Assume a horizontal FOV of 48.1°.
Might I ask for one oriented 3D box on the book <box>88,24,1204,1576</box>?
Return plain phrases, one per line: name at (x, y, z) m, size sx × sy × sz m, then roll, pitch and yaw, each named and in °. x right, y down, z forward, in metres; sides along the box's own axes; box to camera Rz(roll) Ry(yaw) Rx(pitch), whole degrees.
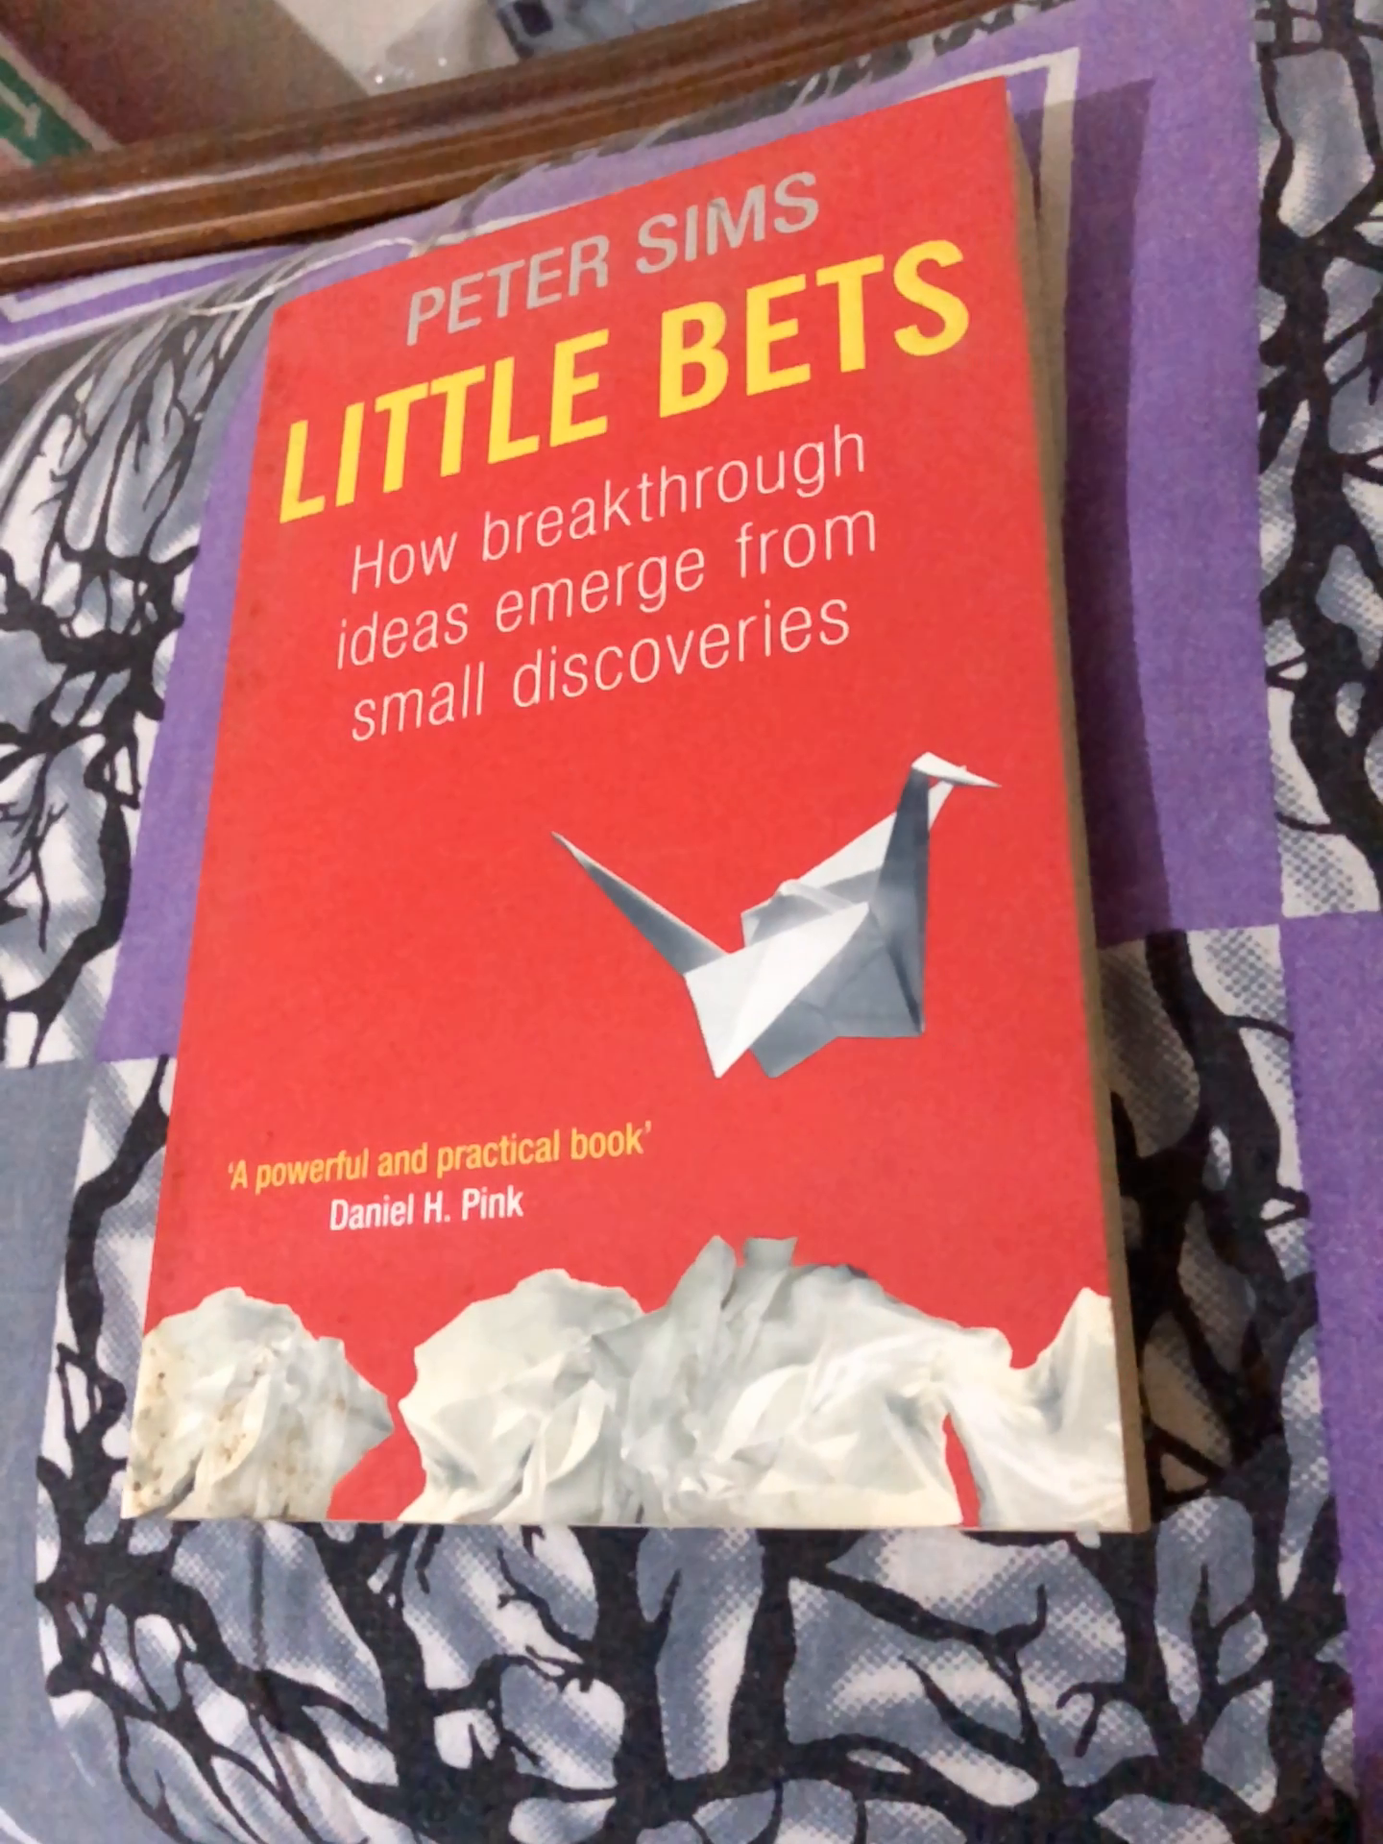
book at (-0.010, -0.027, 0.249) m, size 0.150 × 0.020 × 0.240 m, roll -9°, pitch 64°, yaw 23°
